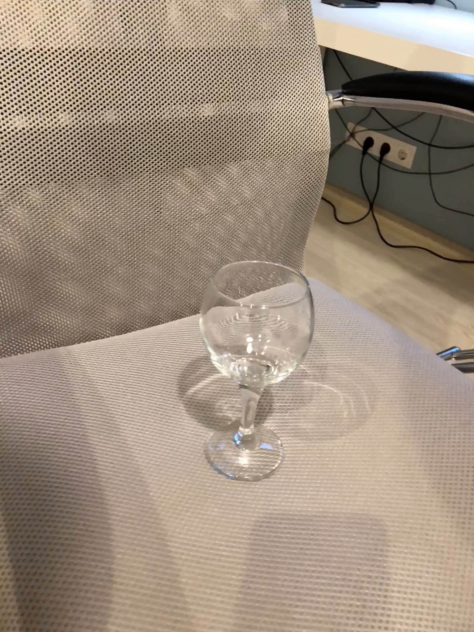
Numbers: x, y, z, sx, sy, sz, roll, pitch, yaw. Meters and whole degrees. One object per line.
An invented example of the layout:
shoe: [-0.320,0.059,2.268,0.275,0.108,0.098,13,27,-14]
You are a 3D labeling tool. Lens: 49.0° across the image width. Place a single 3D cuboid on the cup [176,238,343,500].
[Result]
cup: [0.012,0.044,0.406,0.088,0.172,0.081,4,37,-3]
